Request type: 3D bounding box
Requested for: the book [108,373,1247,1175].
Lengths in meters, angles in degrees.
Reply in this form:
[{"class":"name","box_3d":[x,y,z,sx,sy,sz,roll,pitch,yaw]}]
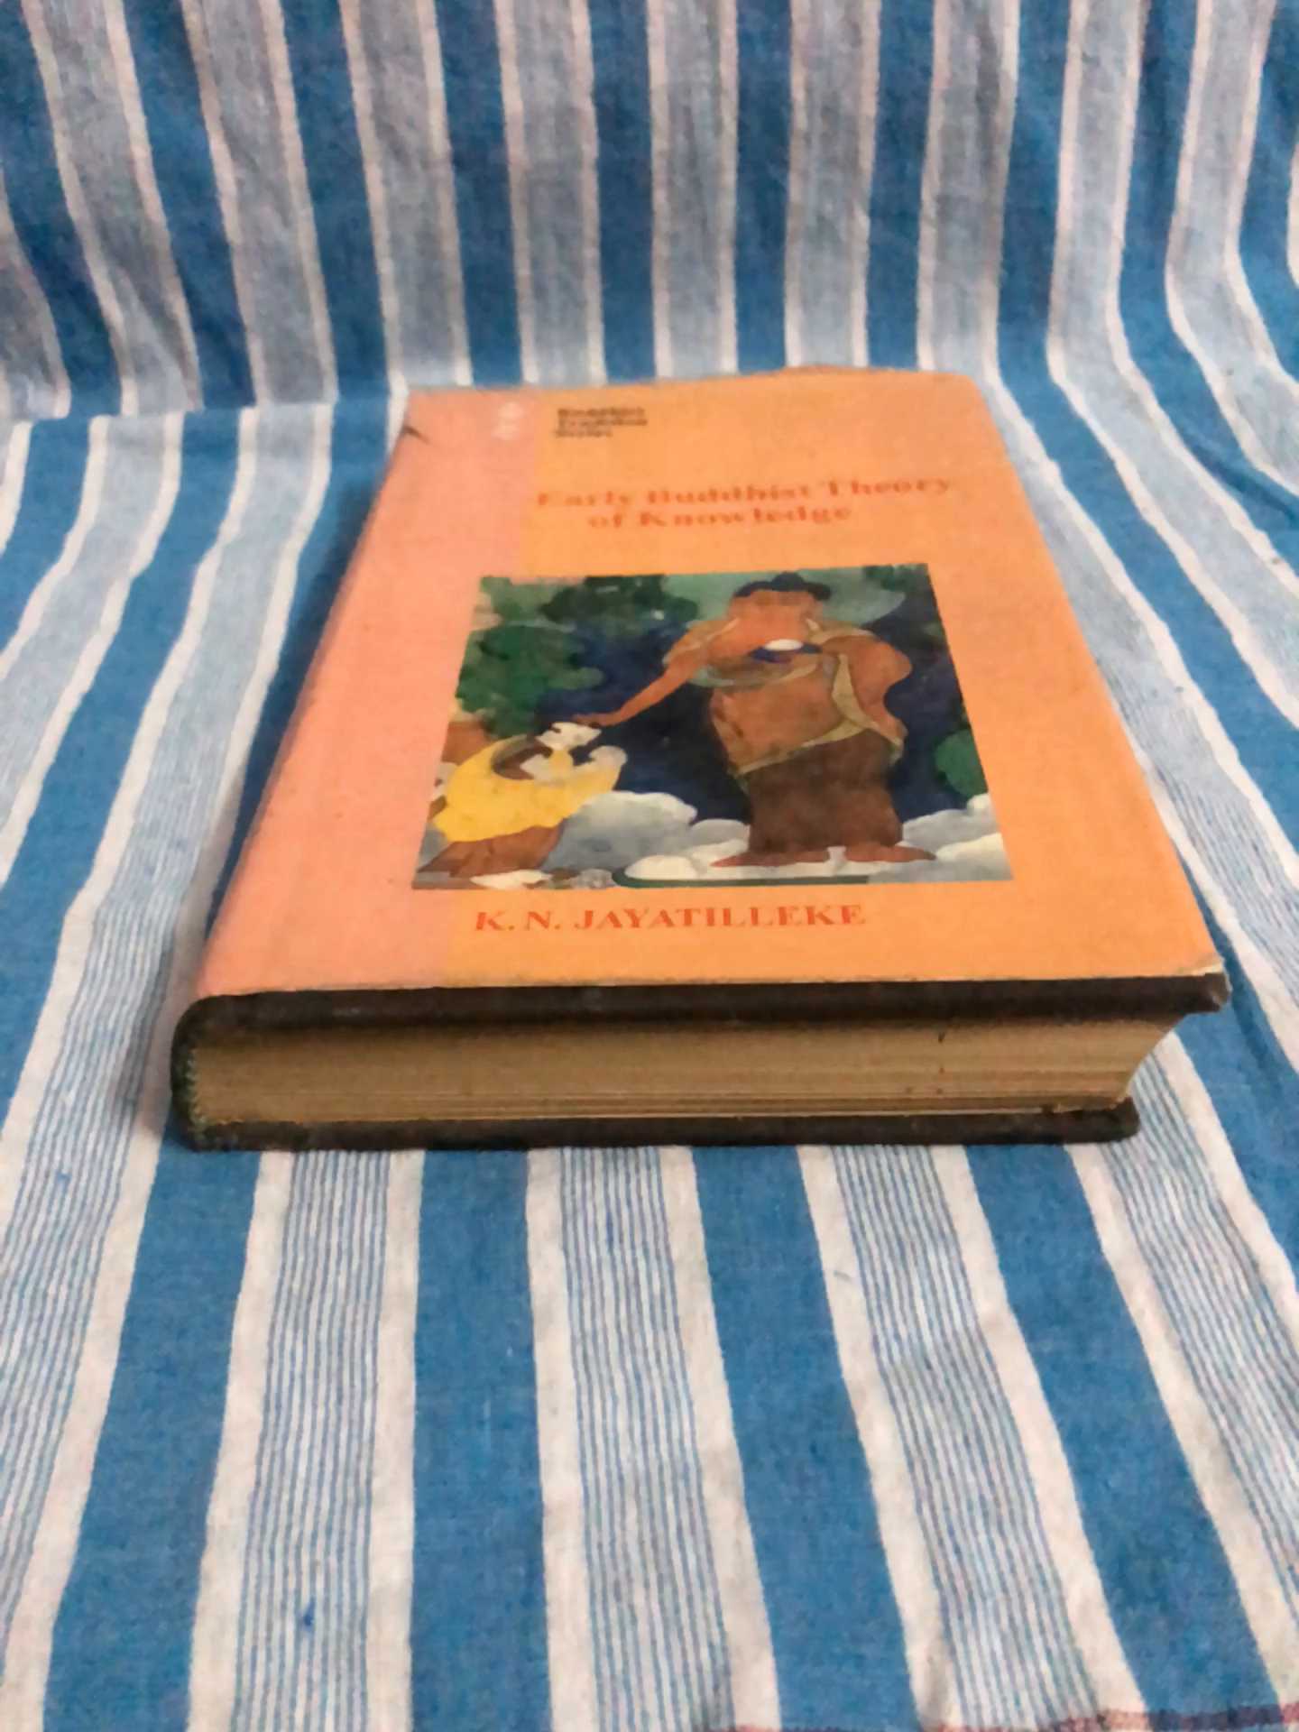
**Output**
[{"class":"book","box_3d":[0.004,-0.039,0.285,0.150,0.030,0.221,-1,40,1]}]
